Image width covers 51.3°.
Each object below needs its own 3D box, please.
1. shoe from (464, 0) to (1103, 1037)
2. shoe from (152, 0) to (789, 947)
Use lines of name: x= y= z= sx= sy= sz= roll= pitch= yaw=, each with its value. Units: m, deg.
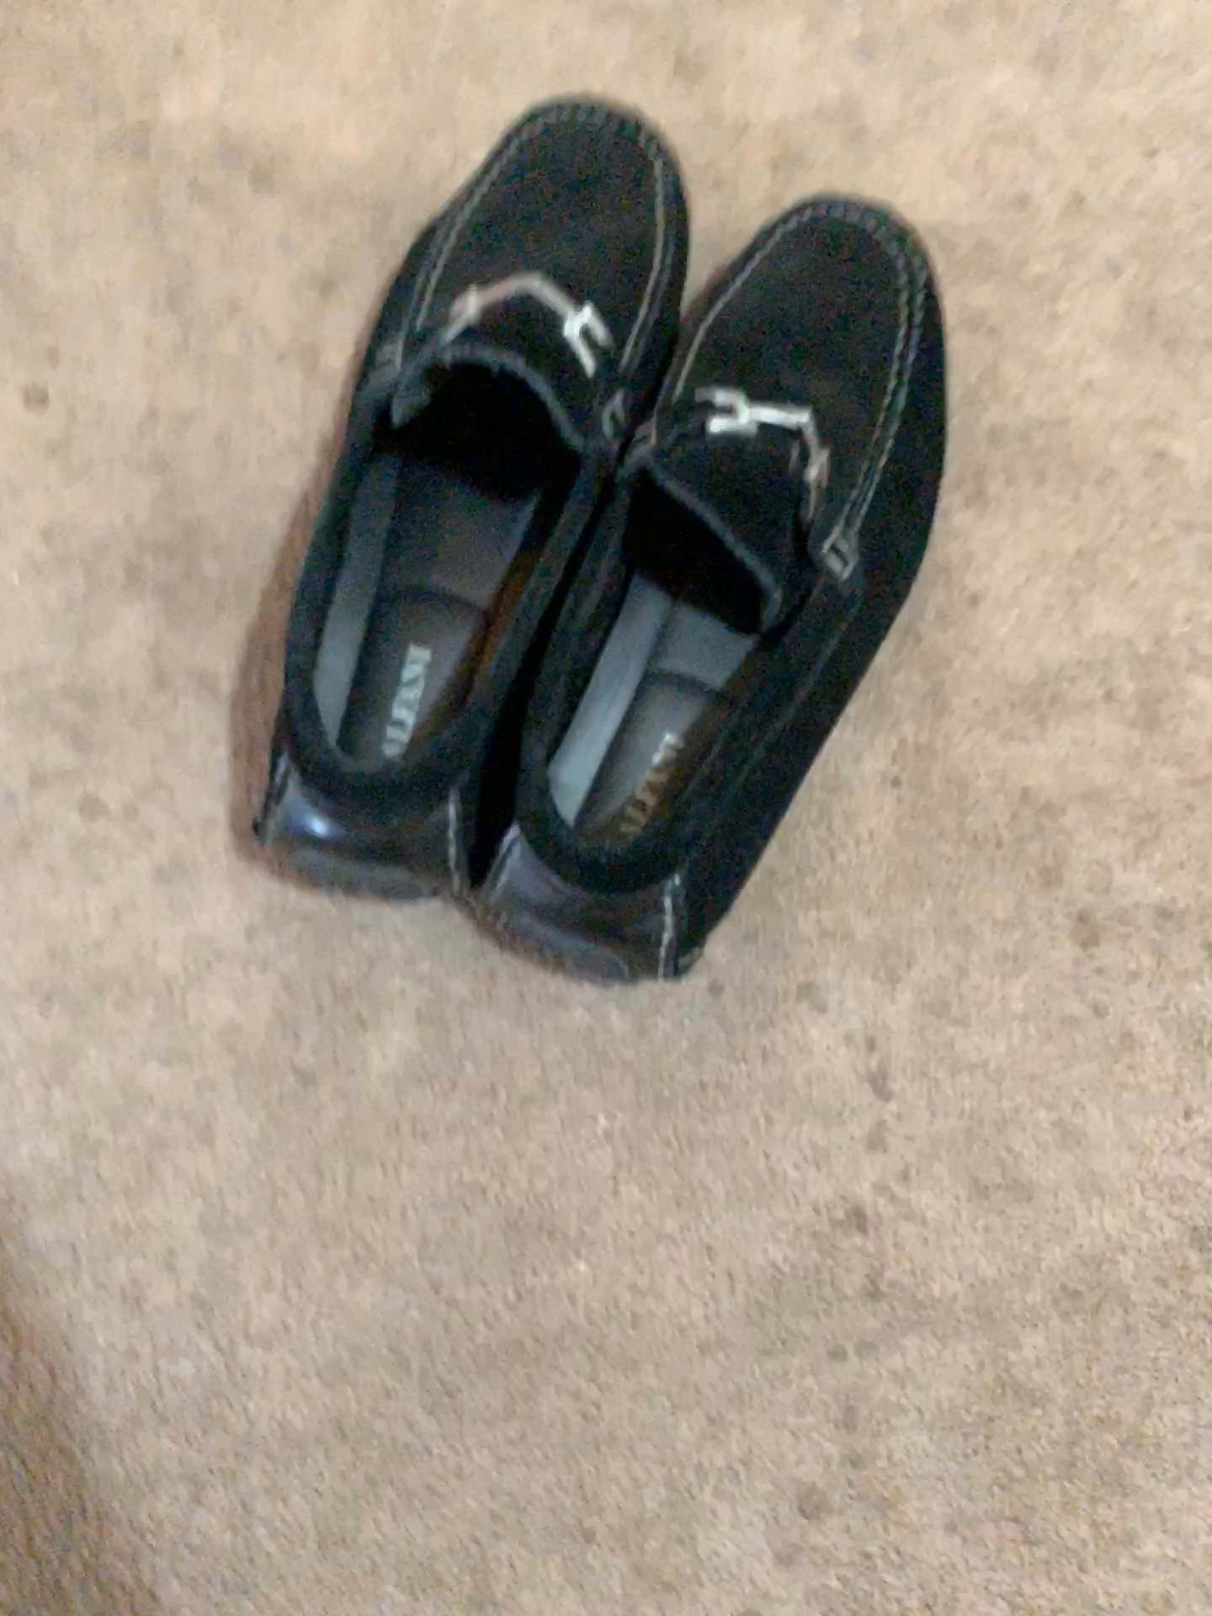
shoe: x=0.053 y=-0.094 z=0.384 sx=0.100 sy=0.100 sz=0.301 roll=18 pitch=75 yaw=-2
shoe: x=-0.031 y=-0.121 z=0.390 sx=0.100 sy=0.100 sz=0.301 roll=14 pitch=75 yaw=-3
